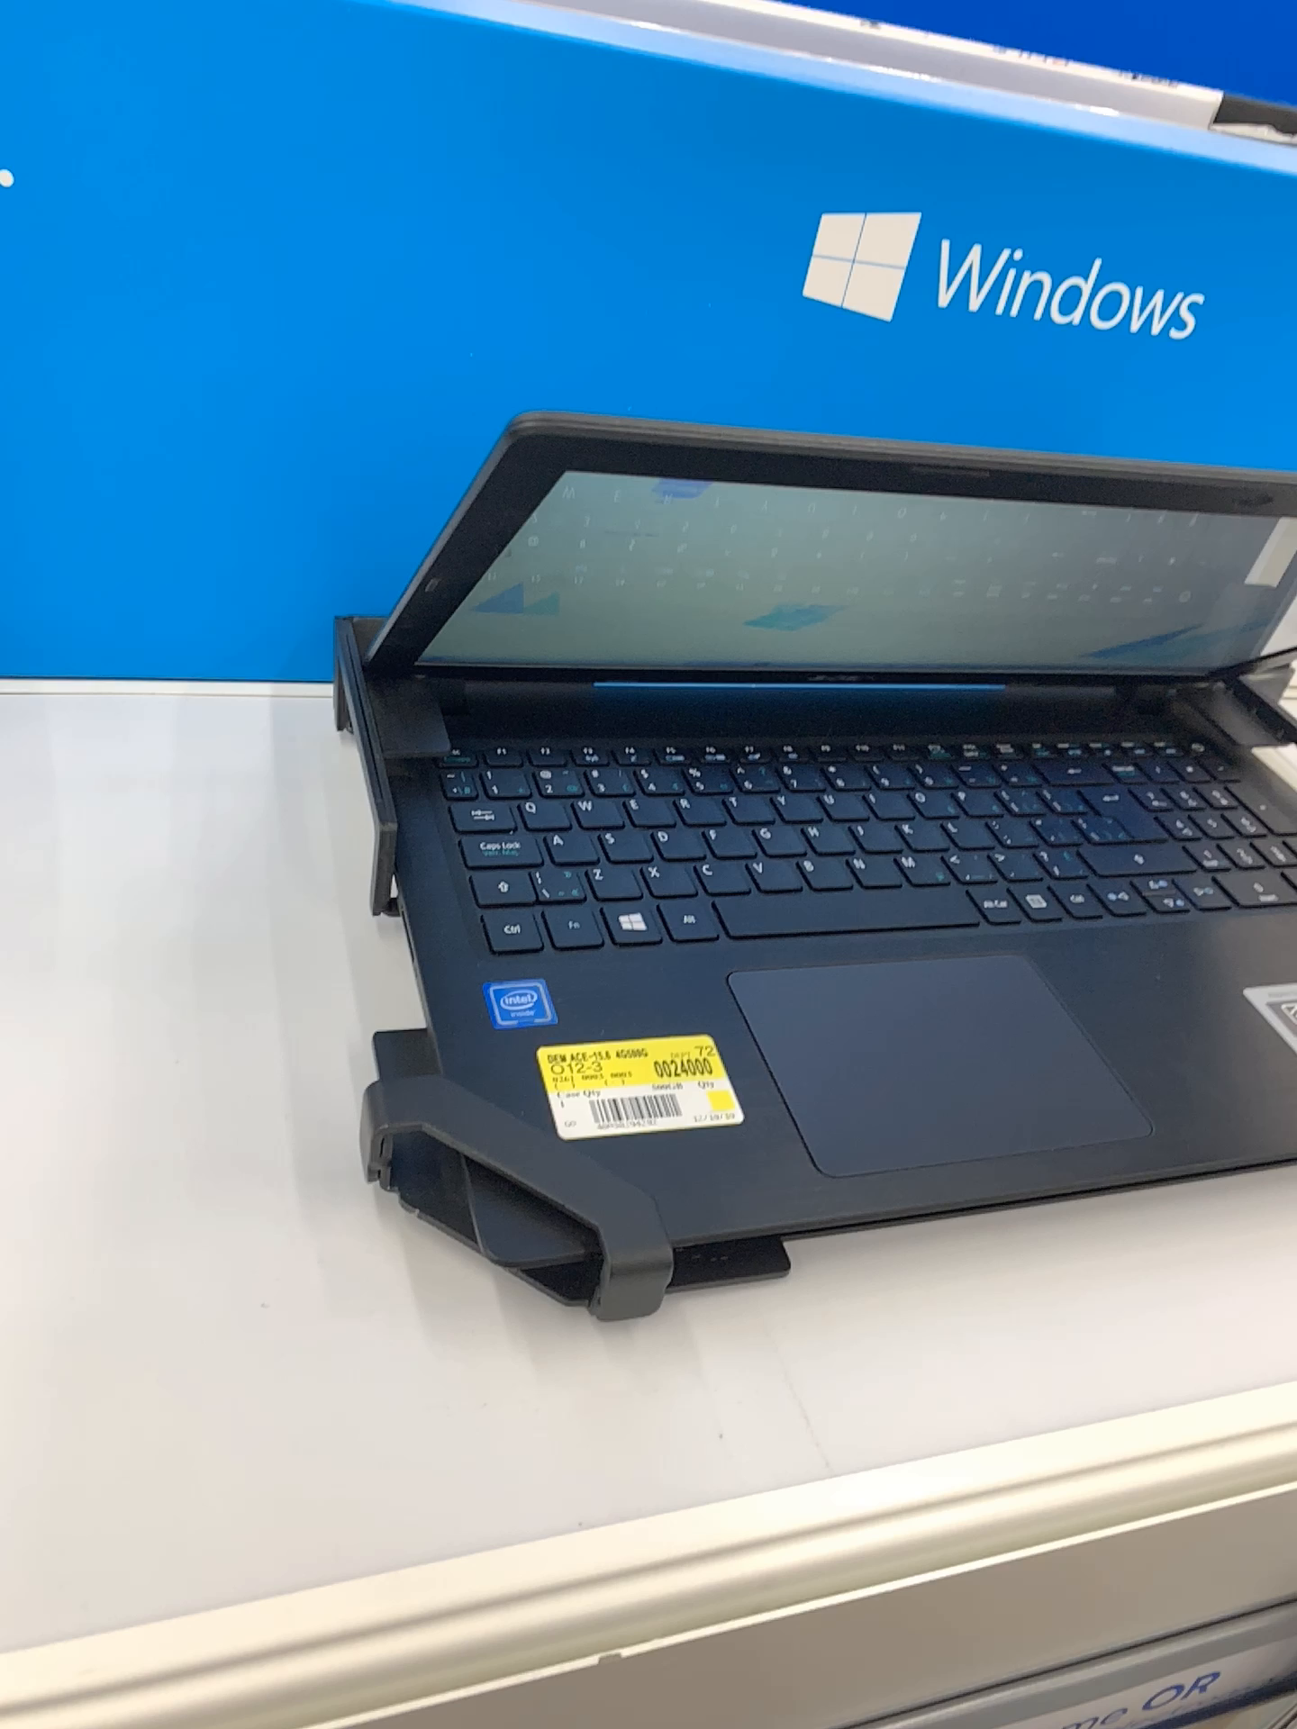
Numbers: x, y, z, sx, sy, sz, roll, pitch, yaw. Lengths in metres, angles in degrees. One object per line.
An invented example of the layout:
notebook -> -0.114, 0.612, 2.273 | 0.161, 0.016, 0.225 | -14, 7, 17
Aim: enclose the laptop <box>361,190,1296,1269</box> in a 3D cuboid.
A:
laptop -> 0.113, -0.054, 0.372 | 0.344, 0.147, 0.227 | -2, 39, -21
